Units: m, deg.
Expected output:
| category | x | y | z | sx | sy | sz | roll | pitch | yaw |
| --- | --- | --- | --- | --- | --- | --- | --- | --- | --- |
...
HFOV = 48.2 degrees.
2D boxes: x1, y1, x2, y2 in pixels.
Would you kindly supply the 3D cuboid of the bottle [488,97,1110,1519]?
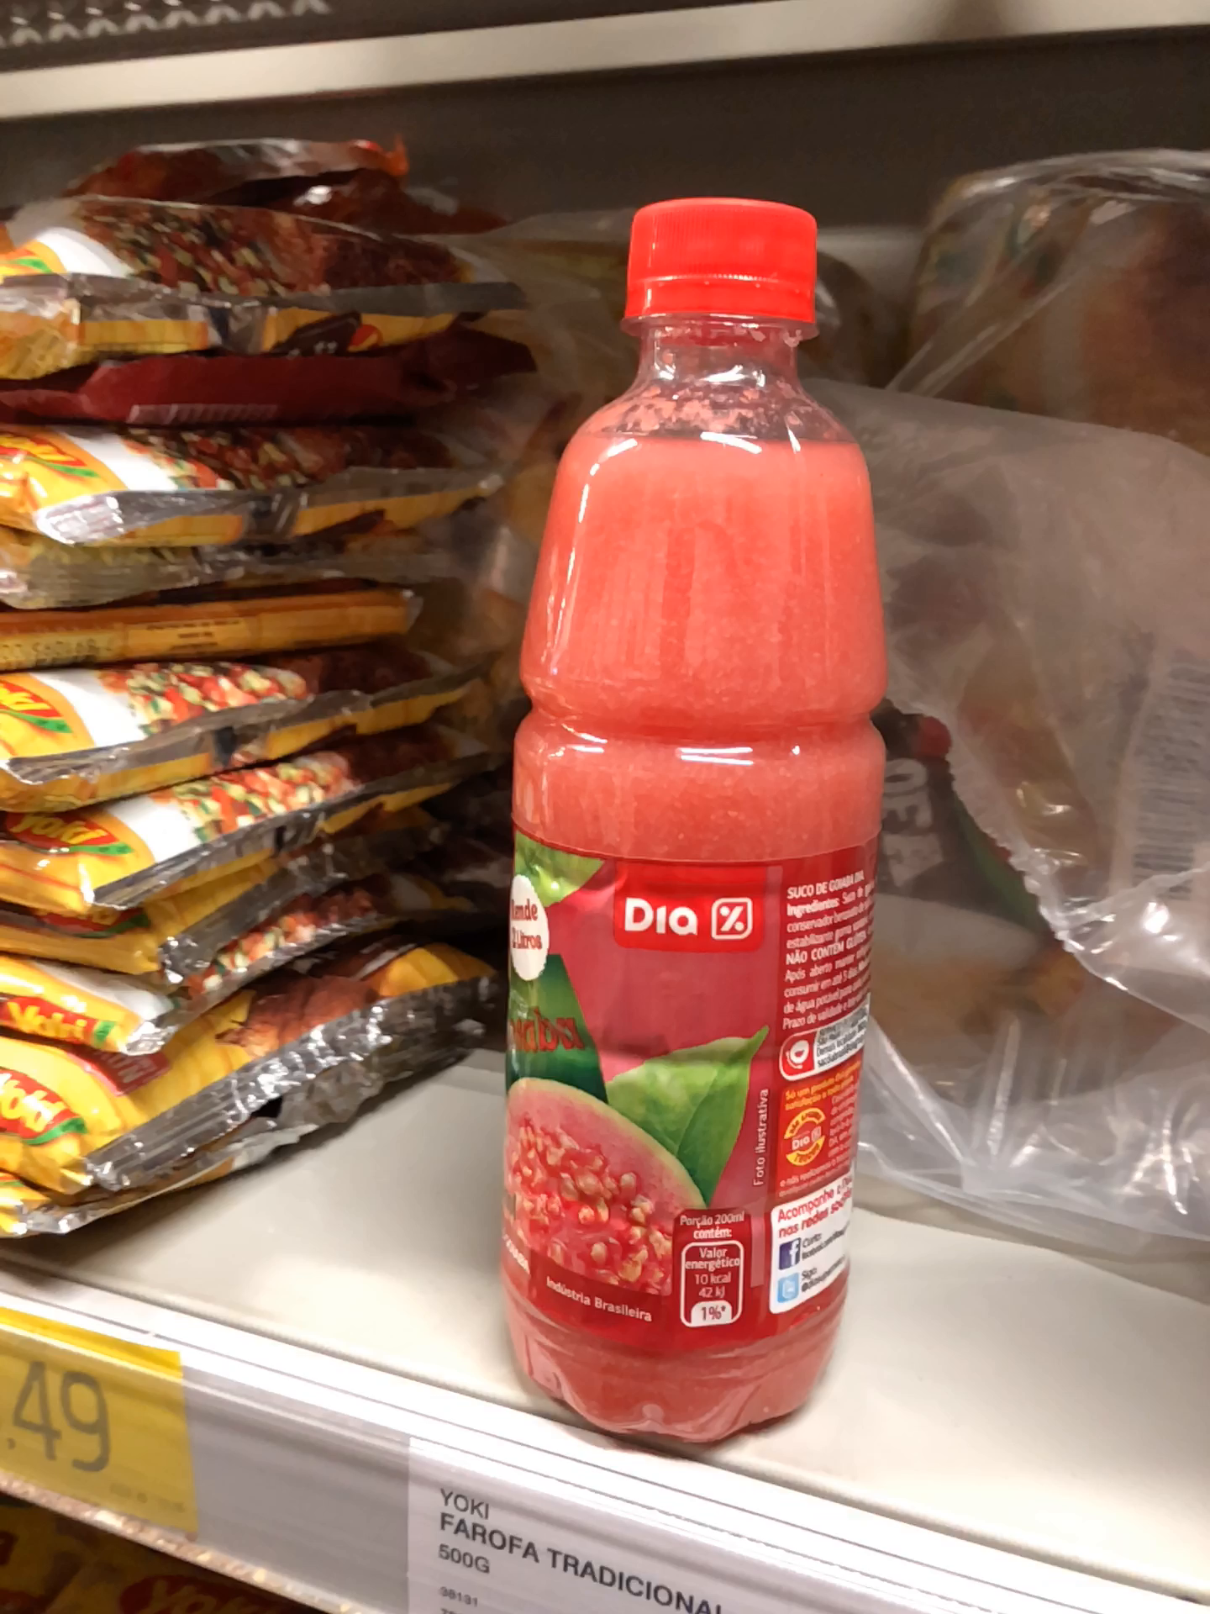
| category | x | y | z | sx | sy | sz | roll | pitch | yaw |
| --- | --- | --- | --- | --- | --- | --- | --- | --- | --- |
| bottle | 0.026 | 0.003 | 0.247 | 0.070 | 0.219 | 0.070 | 2 | 14 | -1 |
